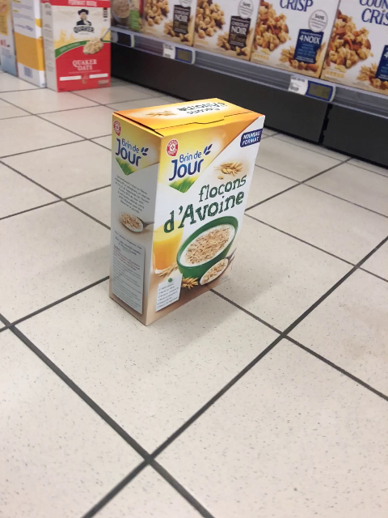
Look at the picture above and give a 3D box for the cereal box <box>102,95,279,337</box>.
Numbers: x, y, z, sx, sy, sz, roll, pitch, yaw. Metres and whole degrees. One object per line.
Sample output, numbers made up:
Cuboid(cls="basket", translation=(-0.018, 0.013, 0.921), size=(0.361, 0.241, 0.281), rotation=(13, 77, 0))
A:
Cuboid(cls="cereal box", translation=(-0.007, -0.051, 0.447), size=(0.070, 0.209, 0.161), rotation=(31, 38, 33))
